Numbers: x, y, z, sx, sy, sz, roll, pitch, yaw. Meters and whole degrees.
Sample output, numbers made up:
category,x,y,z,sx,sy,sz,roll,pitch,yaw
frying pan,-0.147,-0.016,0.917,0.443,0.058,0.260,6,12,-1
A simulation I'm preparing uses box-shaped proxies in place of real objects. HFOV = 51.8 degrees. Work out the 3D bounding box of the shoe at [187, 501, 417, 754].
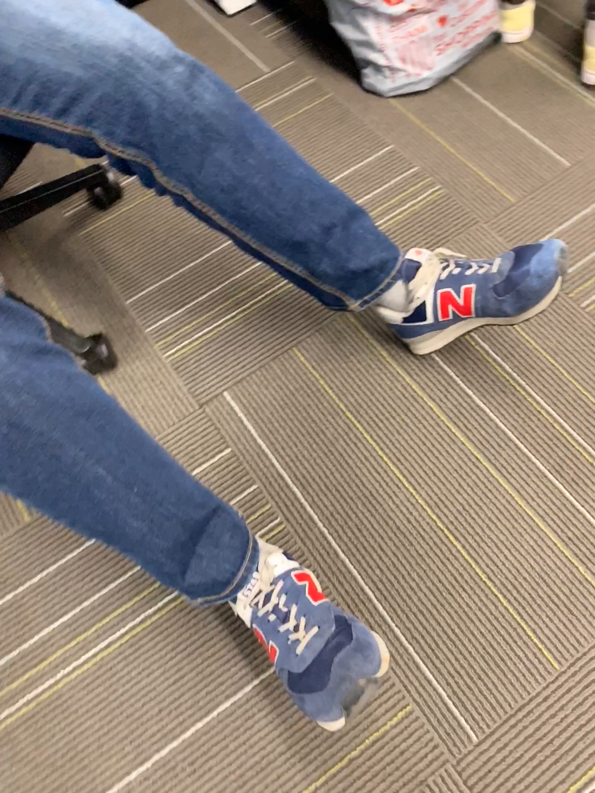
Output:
category,x,y,z,sx,sy,sz,roll,pitch,yaw
shoe,-0.014,0.251,0.732,0.135,0.297,0.120,37,83,-21

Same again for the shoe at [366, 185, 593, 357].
category,x,y,z,sx,sy,sz,roll,pitch,yaw
shoe,0.245,-0.162,0.874,0.096,0.303,0.115,31,64,-25
